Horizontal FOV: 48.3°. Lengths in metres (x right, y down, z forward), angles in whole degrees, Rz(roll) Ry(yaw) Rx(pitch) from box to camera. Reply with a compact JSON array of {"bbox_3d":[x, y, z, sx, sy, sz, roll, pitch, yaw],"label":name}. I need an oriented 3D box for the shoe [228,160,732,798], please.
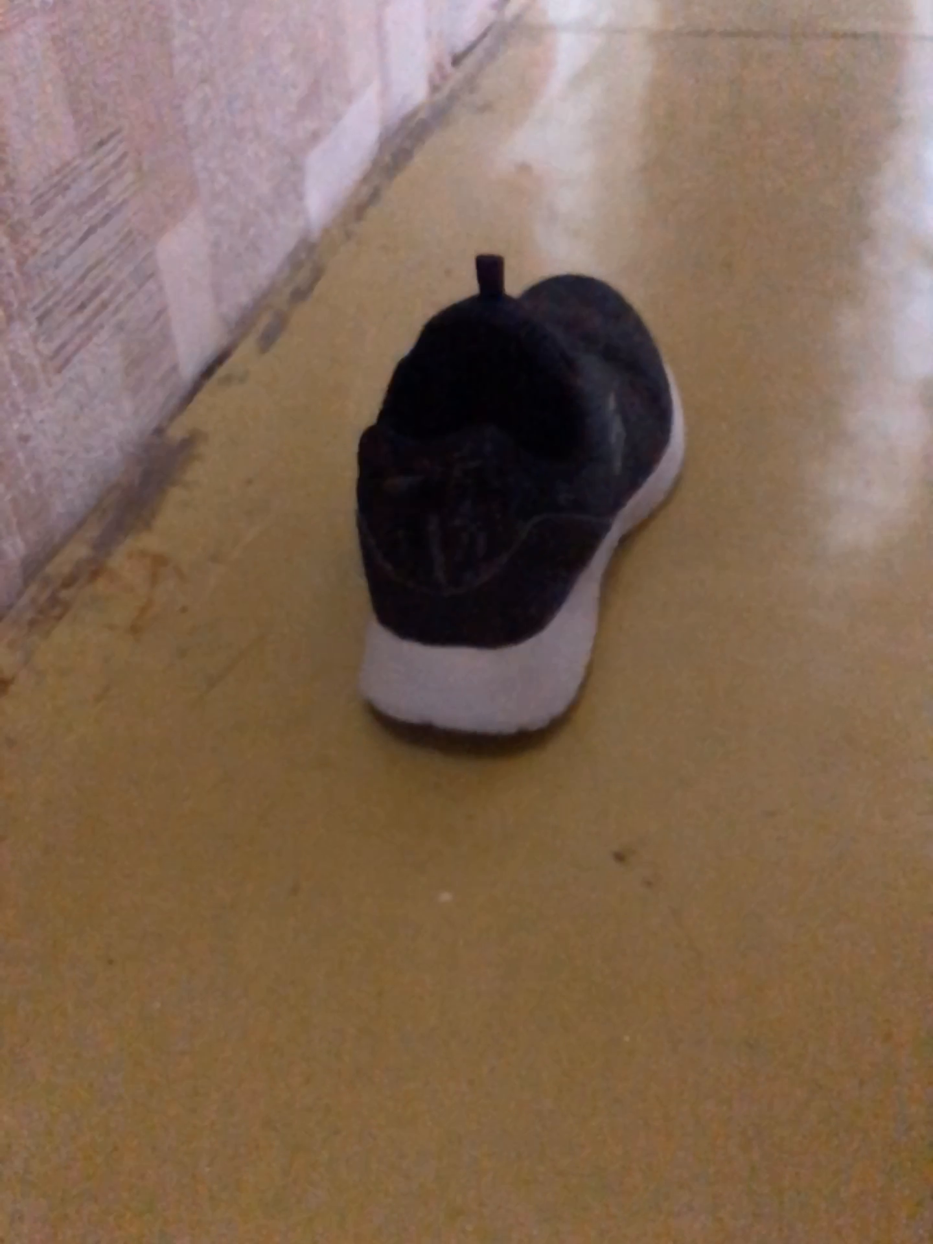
[{"bbox_3d":[0.031,-0.093,0.492,0.130,0.119,0.321,11,45,14],"label":"shoe"}]
